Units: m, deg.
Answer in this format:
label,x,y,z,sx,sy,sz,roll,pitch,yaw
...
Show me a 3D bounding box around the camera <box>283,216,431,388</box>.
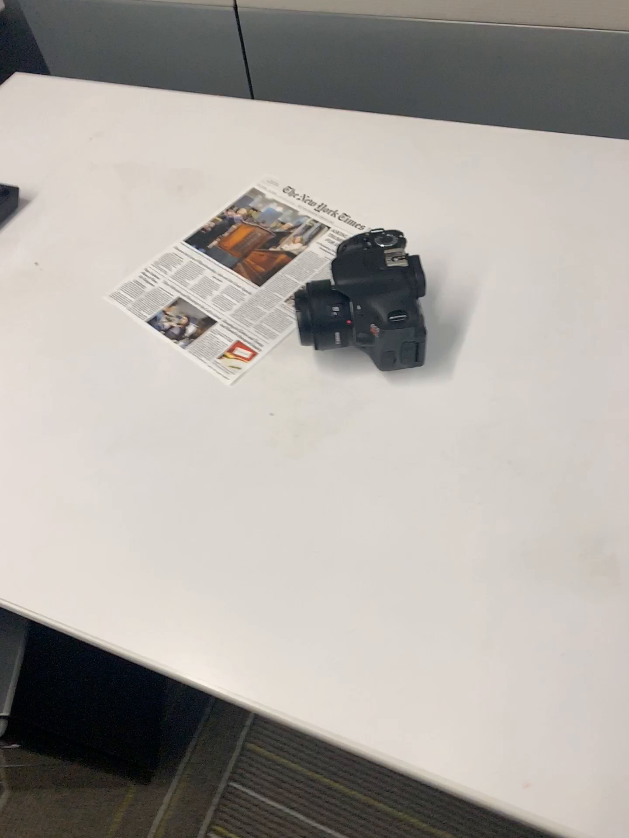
label,x,y,z,sx,sy,sz,roll,pitch,yaw
camera,0.036,-0.105,0.583,0.114,0.090,0.109,-7,55,2
